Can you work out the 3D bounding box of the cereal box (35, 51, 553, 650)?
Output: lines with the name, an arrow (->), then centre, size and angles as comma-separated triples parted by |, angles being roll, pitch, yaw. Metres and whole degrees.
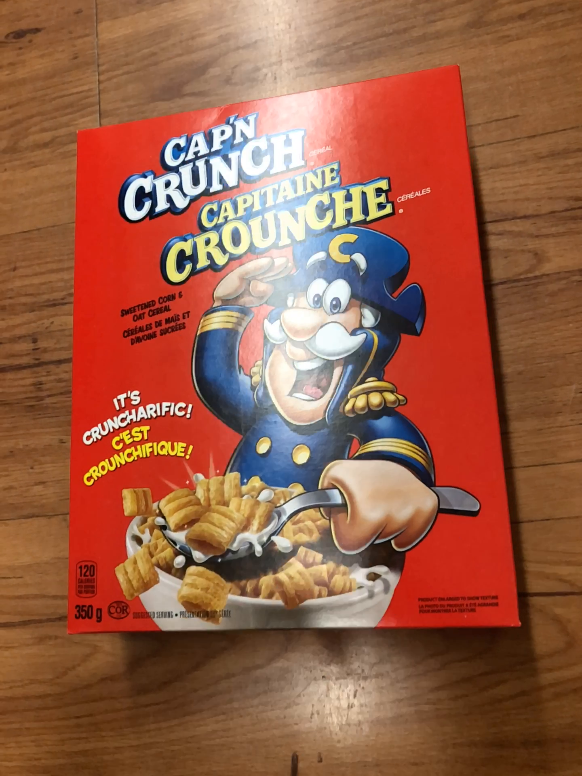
cereal box -> -0.007, -0.013, 0.321 | 0.220, 0.060, 0.260 | -5, 79, 11
